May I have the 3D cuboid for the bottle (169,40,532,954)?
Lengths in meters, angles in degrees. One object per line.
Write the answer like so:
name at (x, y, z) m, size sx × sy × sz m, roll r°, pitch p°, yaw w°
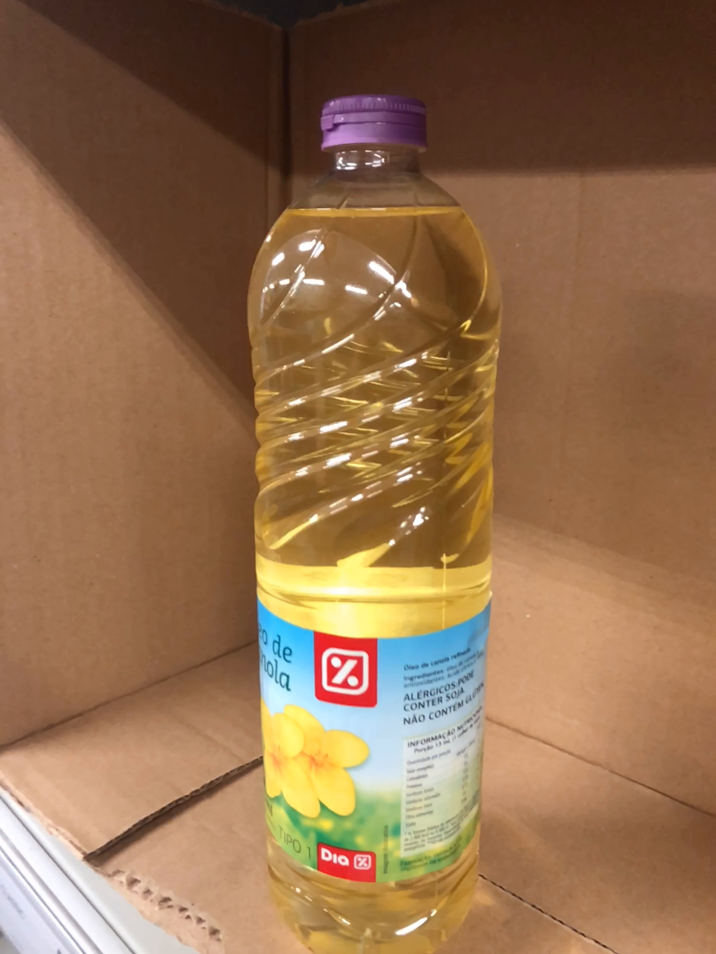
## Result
bottle at (-0.001, 0.026, 0.244) m, size 0.080 × 0.268 × 0.050 m, roll 14°, pitch 23°, yaw 40°
